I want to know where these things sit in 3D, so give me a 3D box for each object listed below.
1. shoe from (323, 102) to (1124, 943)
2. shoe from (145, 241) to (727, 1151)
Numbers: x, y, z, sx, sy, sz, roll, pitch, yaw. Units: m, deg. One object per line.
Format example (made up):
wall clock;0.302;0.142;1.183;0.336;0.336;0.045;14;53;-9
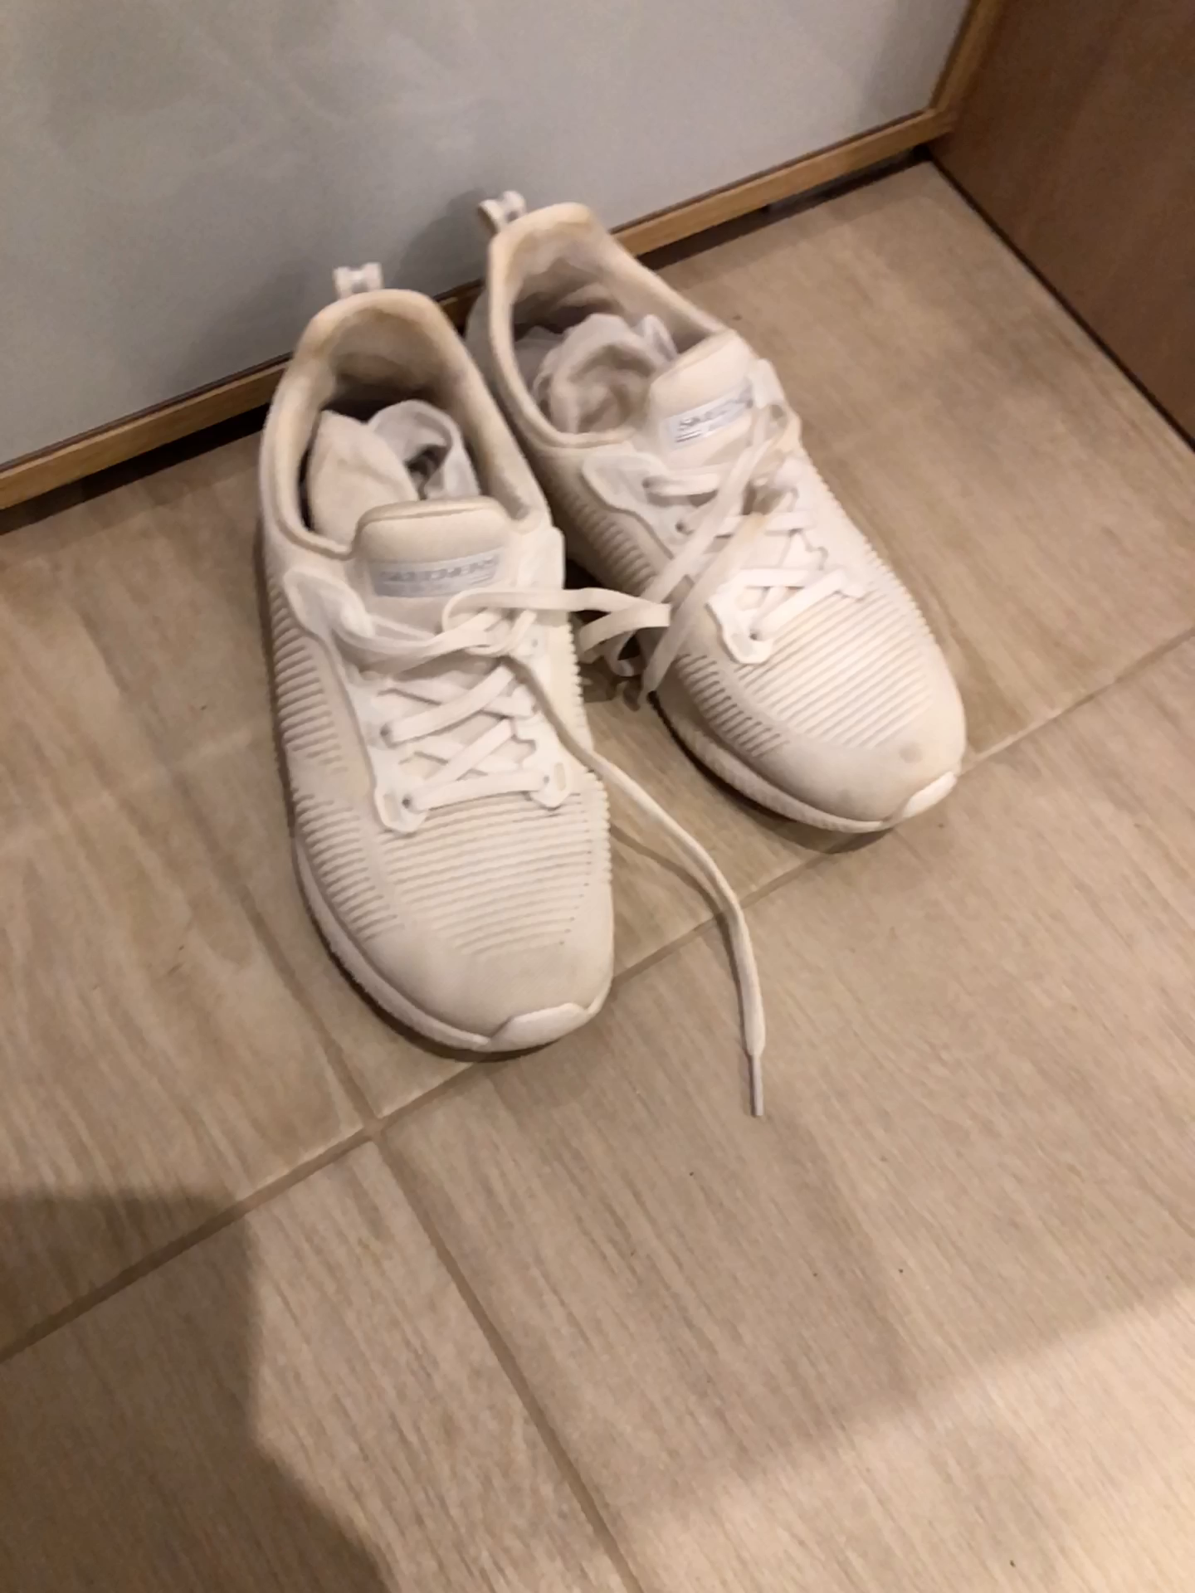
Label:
shoe;0.030;-0.102;0.482;0.110;0.110;0.280;-35;75;-20
shoe;-0.063;-0.038;0.442;0.110;0.110;0.271;-13;68;-13
